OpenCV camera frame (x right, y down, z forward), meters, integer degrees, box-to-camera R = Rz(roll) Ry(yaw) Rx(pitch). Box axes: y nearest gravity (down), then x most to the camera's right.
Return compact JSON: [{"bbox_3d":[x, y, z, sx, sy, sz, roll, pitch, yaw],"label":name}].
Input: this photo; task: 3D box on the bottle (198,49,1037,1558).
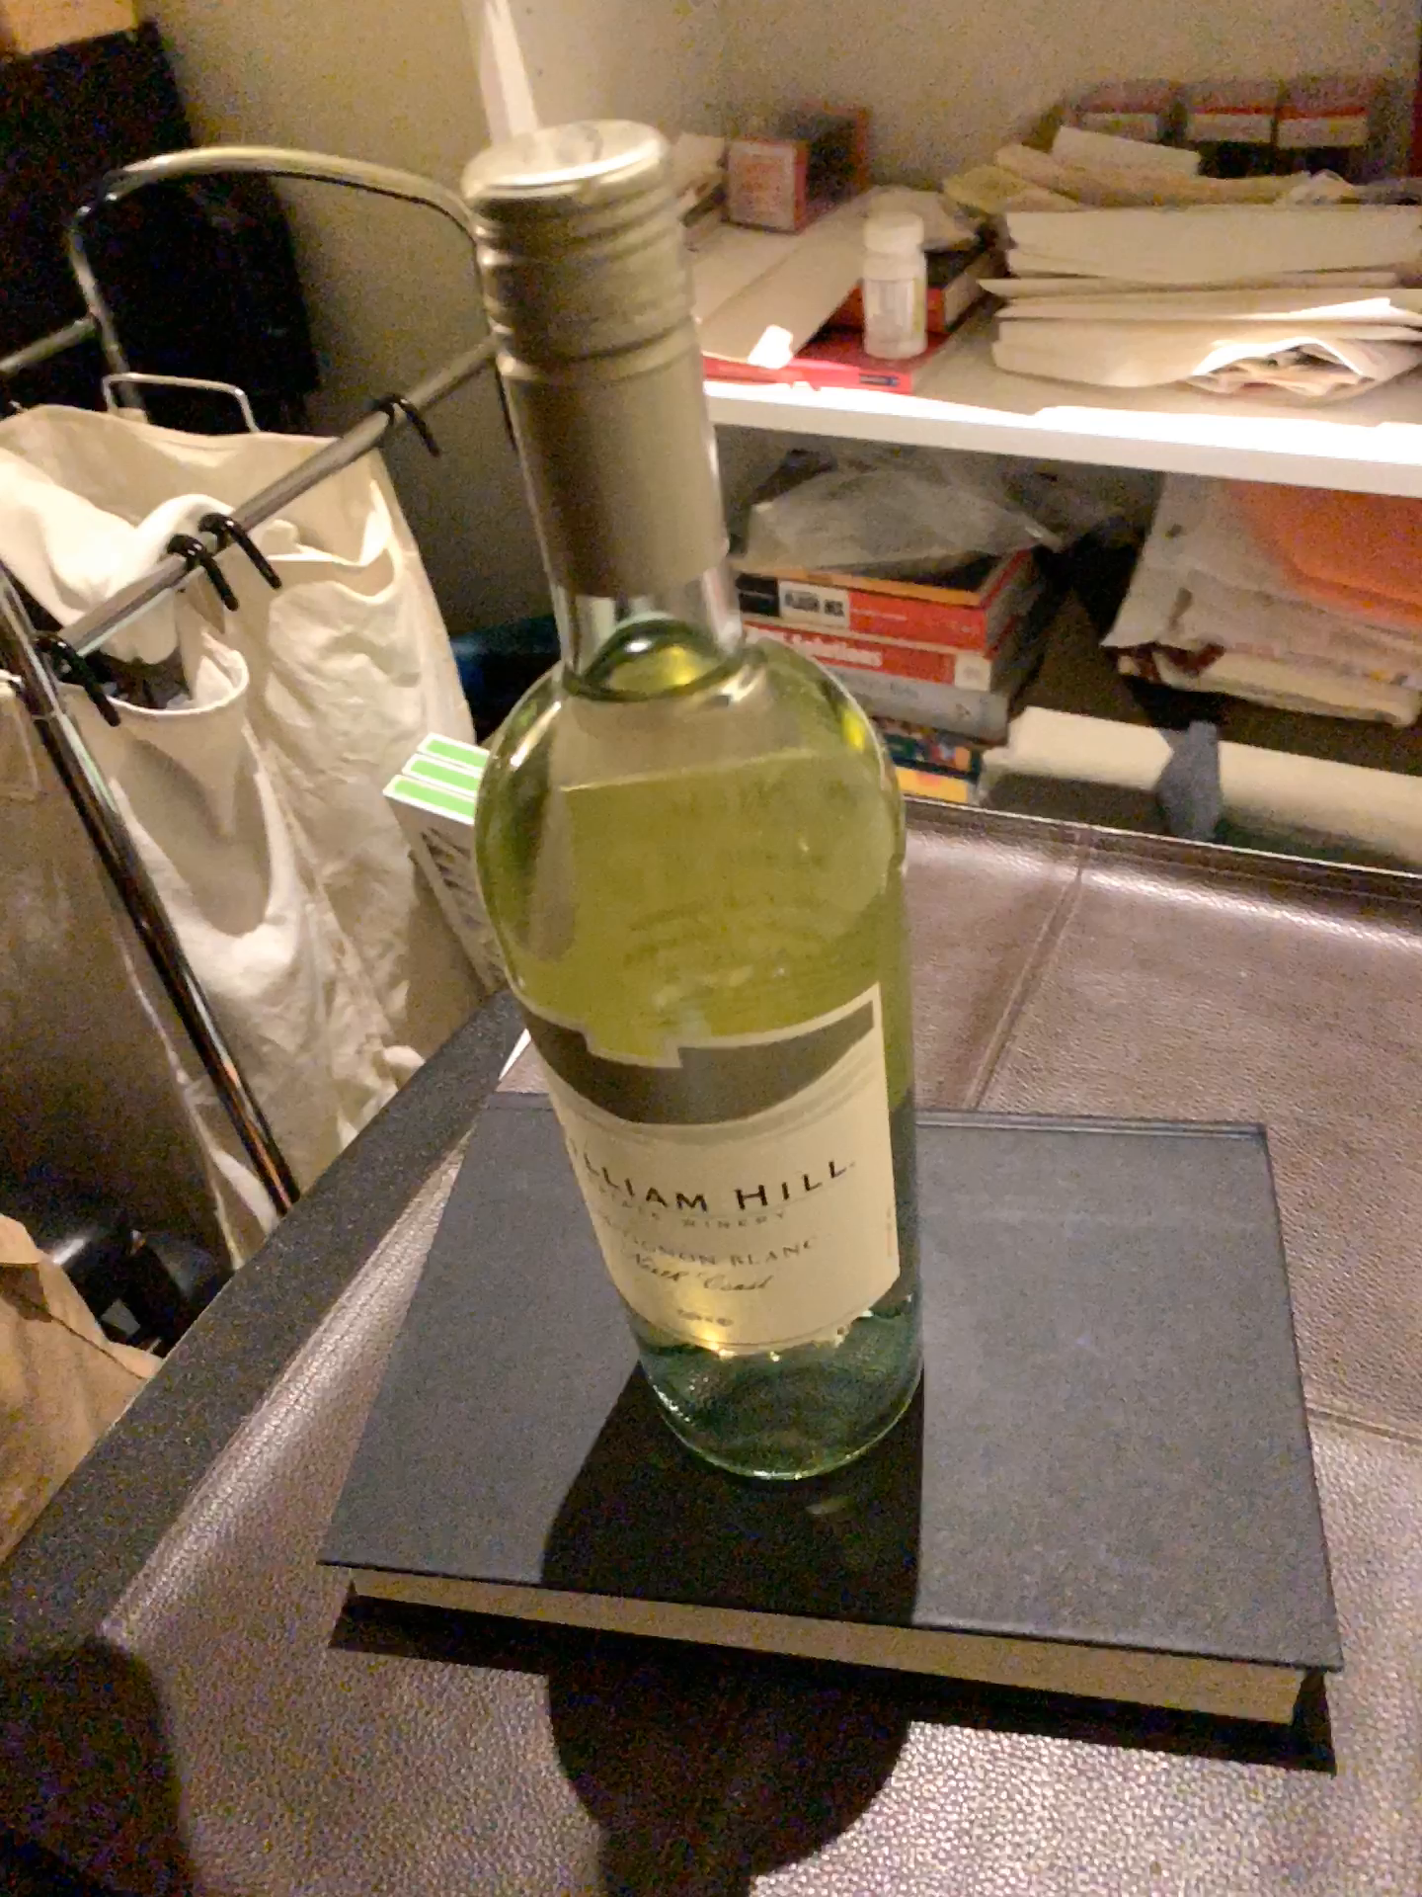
[{"bbox_3d":[0.009,-0.002,0.303,0.090,0.298,0.090,-5,41,5],"label":"bottle"}]
